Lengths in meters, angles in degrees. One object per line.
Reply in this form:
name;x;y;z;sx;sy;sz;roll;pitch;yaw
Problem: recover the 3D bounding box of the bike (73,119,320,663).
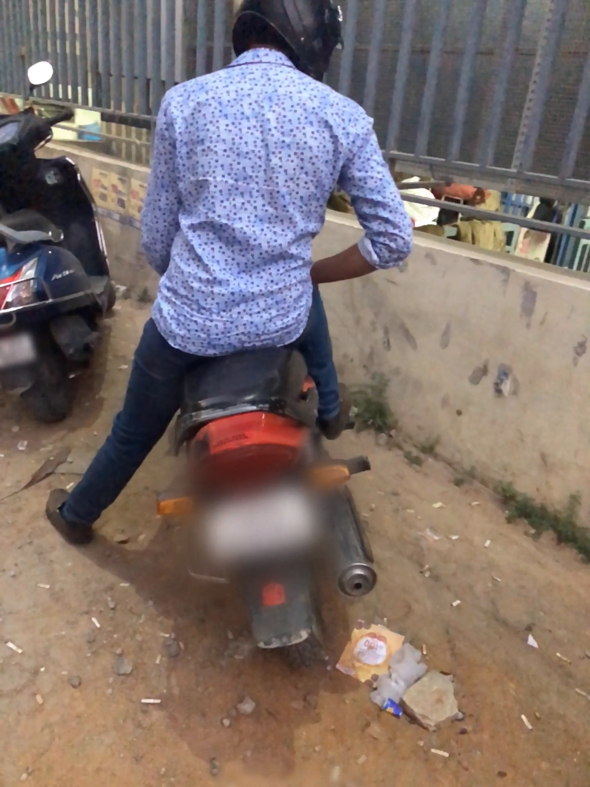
bike;-0.431;-0.212;1.976;0.424;0.830;1.661;-1;31;-16
